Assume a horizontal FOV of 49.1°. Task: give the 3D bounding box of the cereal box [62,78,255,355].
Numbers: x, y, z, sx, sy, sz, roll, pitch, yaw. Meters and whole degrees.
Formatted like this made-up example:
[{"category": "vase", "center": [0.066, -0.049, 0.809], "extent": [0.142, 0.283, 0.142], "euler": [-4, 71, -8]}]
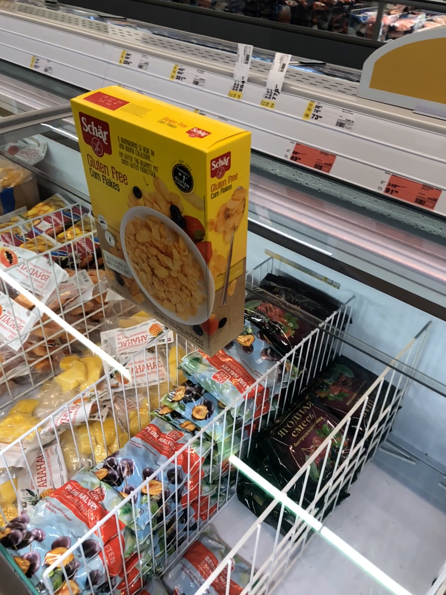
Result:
[{"category": "cereal box", "center": [-0.068, -0.086, 0.532], "extent": [0.201, 0.238, 0.060], "euler": [30, 48, 31]}]
